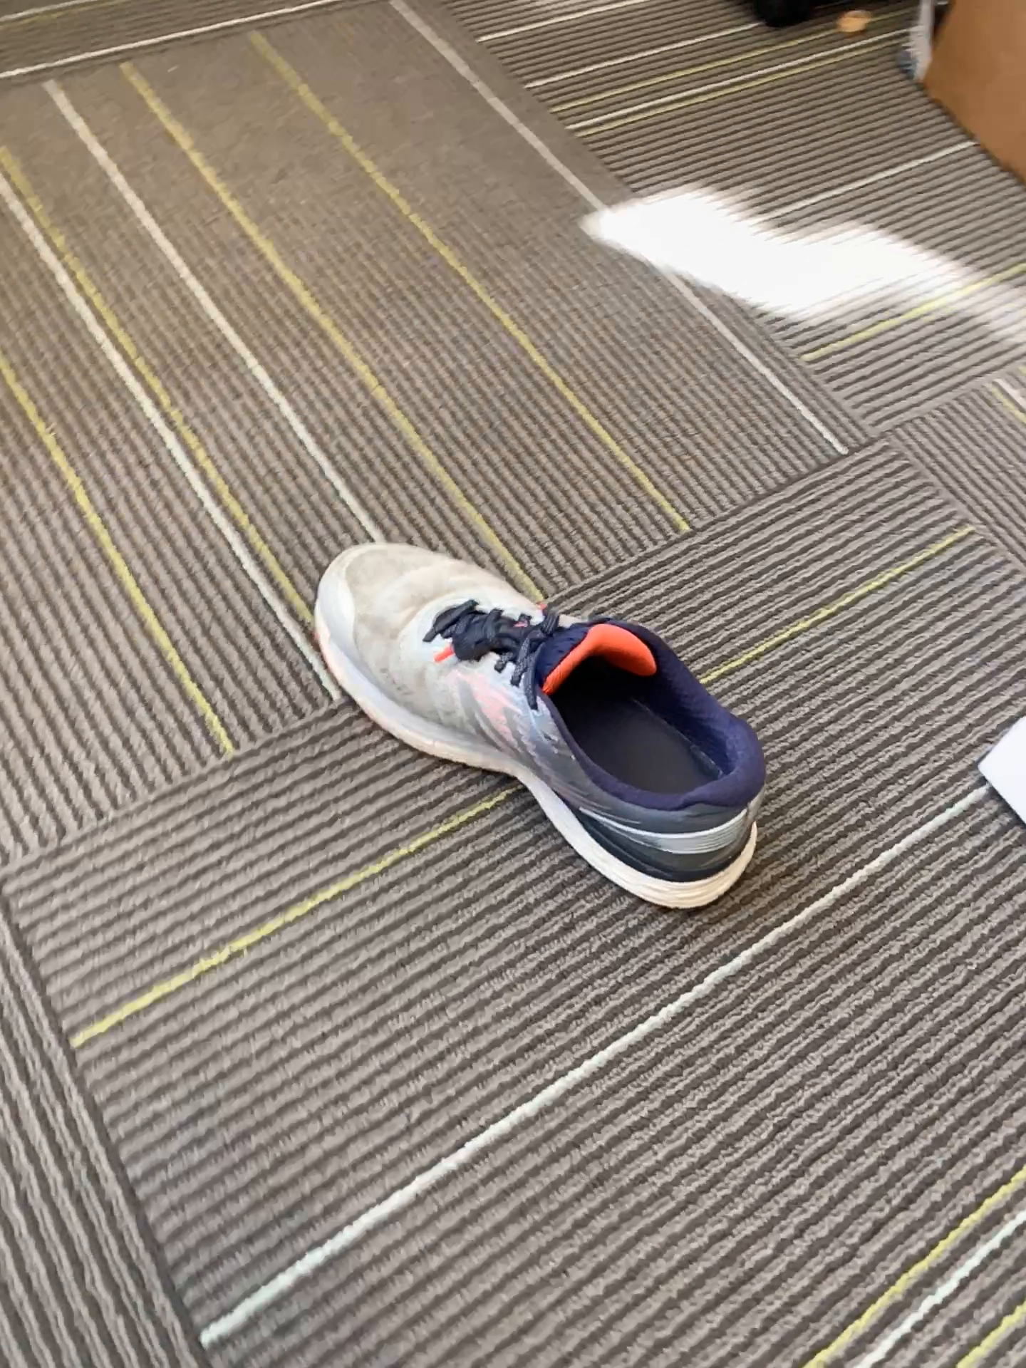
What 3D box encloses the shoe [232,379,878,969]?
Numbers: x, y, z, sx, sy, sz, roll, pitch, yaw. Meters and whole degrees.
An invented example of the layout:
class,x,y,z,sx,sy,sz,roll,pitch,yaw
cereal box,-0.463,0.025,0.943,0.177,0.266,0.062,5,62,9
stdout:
class,x,y,z,sx,sy,sz,roll,pitch,yaw
shoe,0.010,-0.009,0.536,0.300,0.110,0.110,38,63,15
